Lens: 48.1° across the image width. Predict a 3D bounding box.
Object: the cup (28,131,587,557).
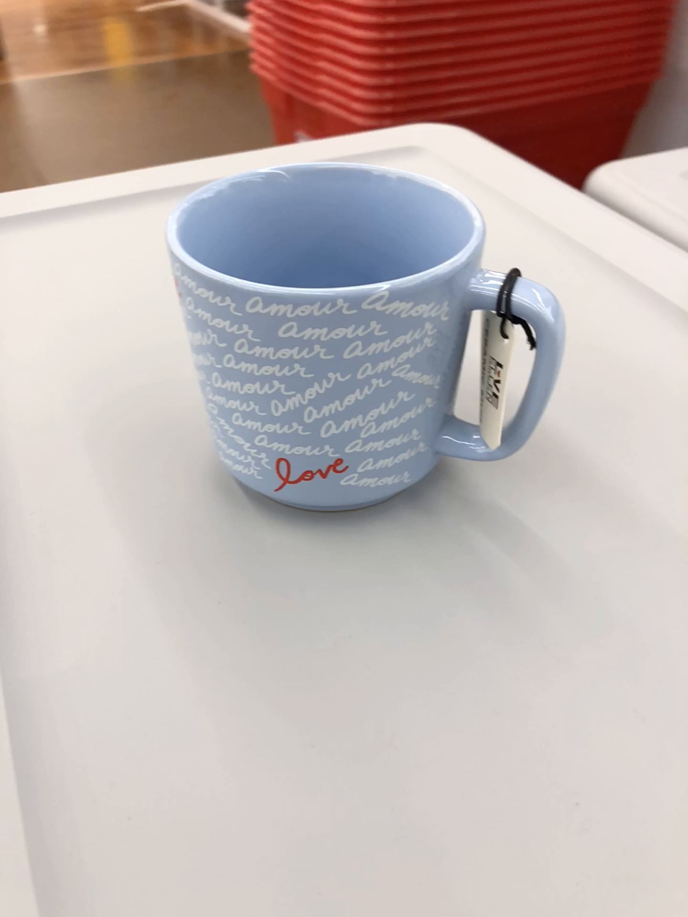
[{"bbox_3d":[-0.003,-0.046,0.254,0.140,0.080,0.100,11,42,15],"label":"cup"}]
